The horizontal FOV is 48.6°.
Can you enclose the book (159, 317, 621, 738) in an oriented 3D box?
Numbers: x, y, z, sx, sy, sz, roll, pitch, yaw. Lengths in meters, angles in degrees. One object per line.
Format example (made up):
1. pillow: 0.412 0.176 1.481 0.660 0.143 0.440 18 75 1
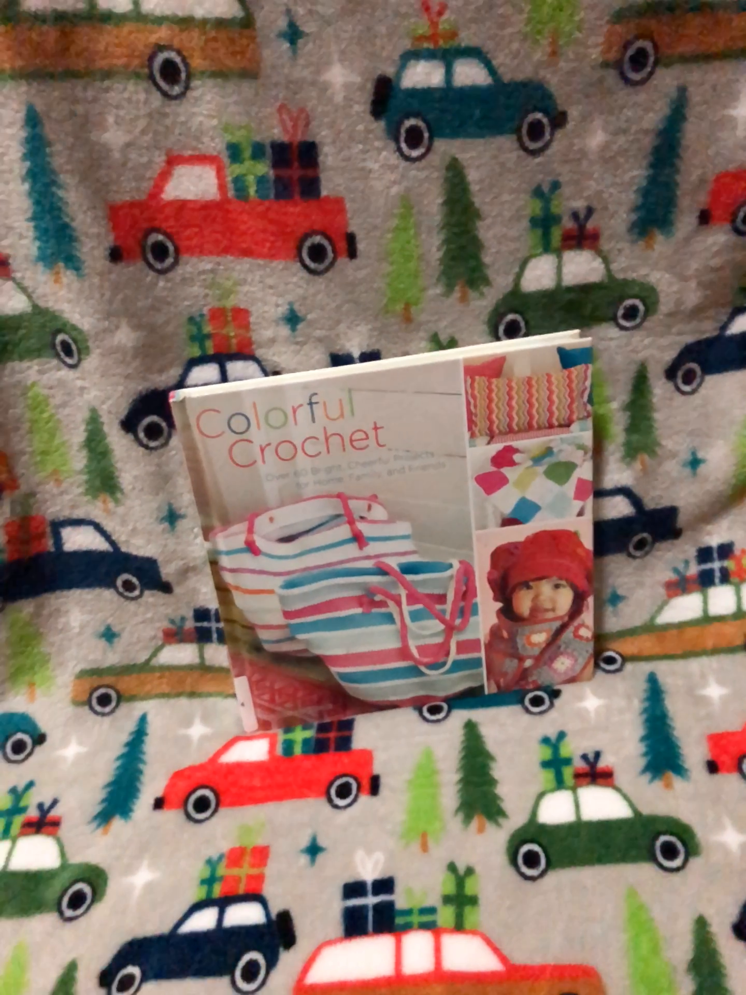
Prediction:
1. book: 0.017 0.026 0.423 0.202 0.214 0.020 -9 33 -4
